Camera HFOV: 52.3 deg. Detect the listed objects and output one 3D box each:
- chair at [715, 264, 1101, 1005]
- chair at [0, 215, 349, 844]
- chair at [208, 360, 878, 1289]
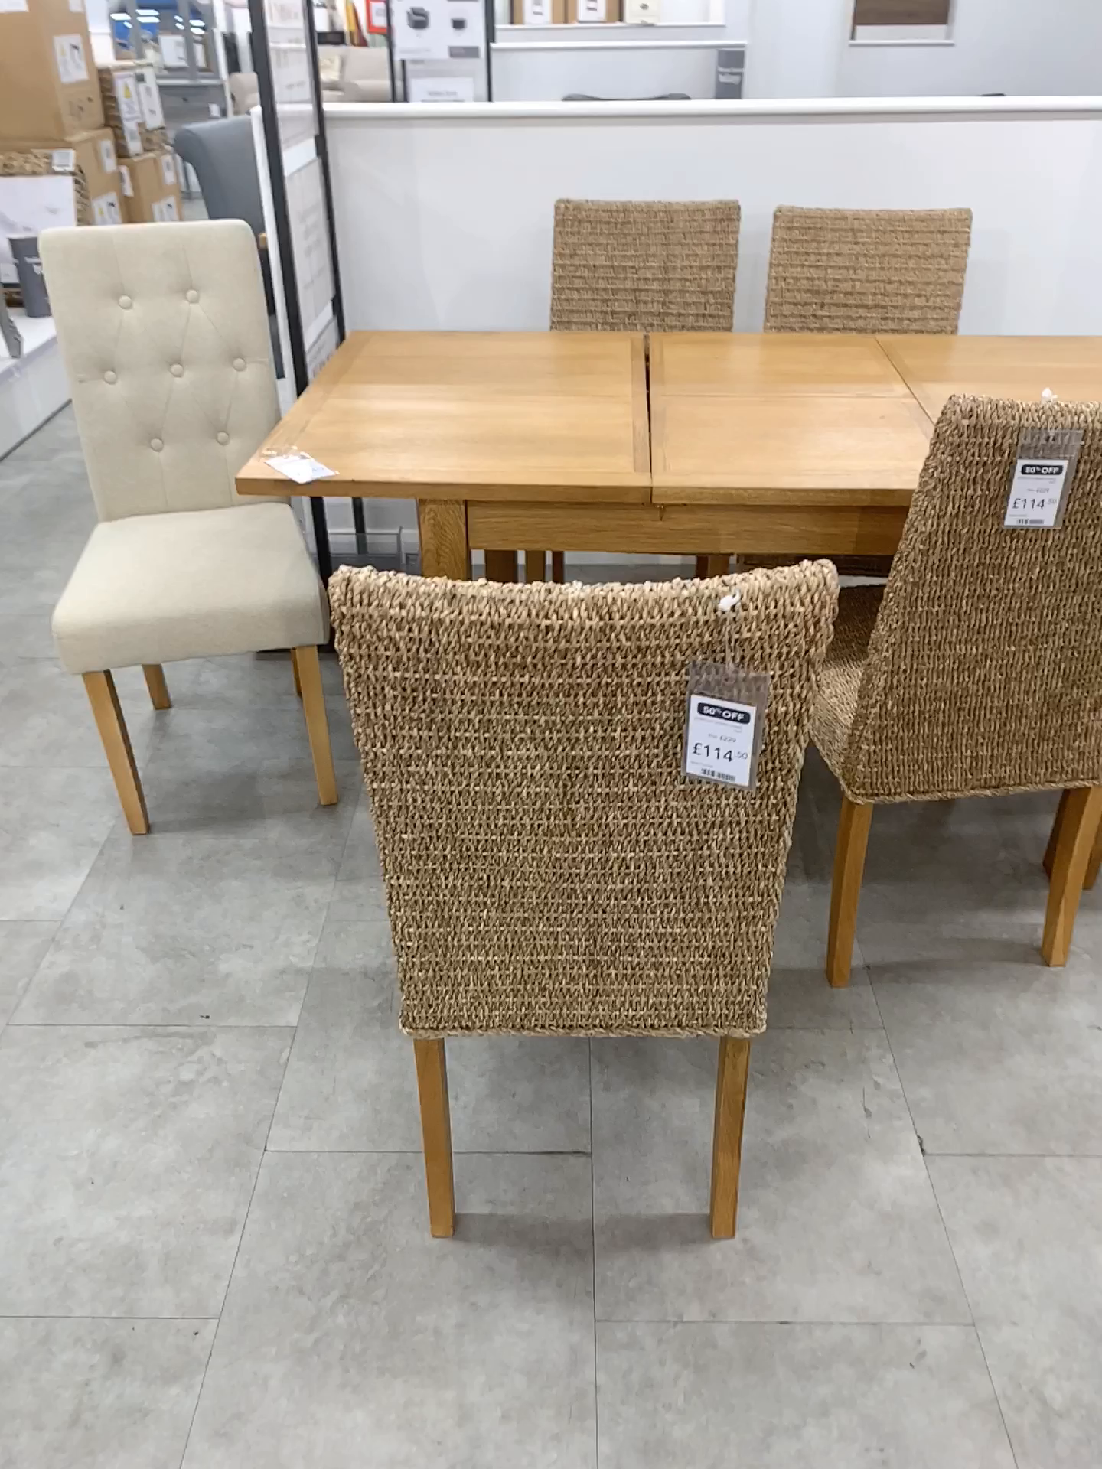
[{"bbox_3d":[0.550,-0.149,1.640,0.437,0.893,0.558,-4,33,-5],"label":"chair"},{"bbox_3d":[-0.599,-0.351,1.927,0.397,0.903,0.517,-6,33,-8],"label":"chair"},{"bbox_3d":[-0.004,0.107,1.298,0.487,0.903,0.568,0,33,0],"label":"chair"}]
